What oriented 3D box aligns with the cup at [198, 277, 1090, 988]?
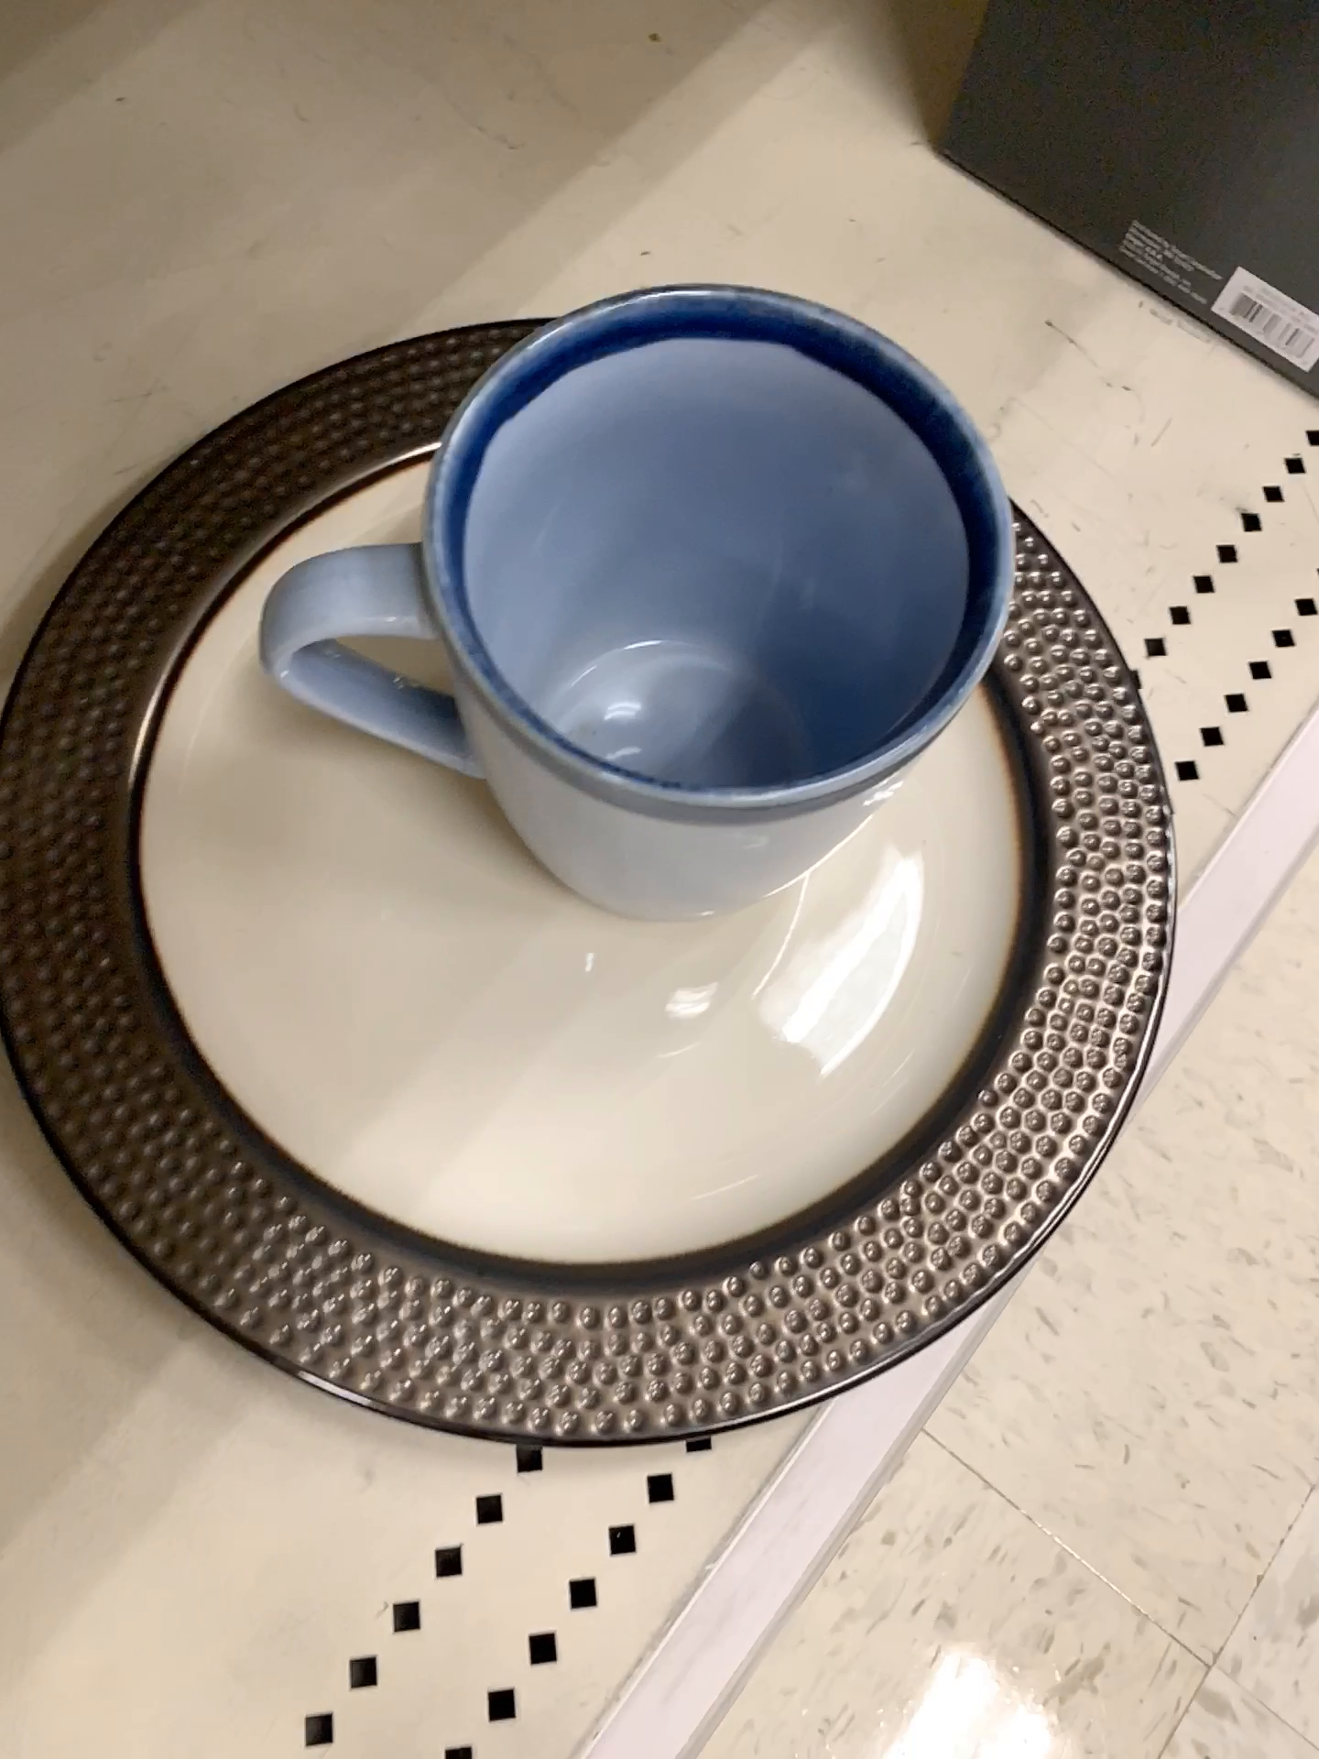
[{"bbox_3d":[-0.007,-0.039,0.252,0.127,0.094,0.093,-3,74,-5],"label":"cup"}]
